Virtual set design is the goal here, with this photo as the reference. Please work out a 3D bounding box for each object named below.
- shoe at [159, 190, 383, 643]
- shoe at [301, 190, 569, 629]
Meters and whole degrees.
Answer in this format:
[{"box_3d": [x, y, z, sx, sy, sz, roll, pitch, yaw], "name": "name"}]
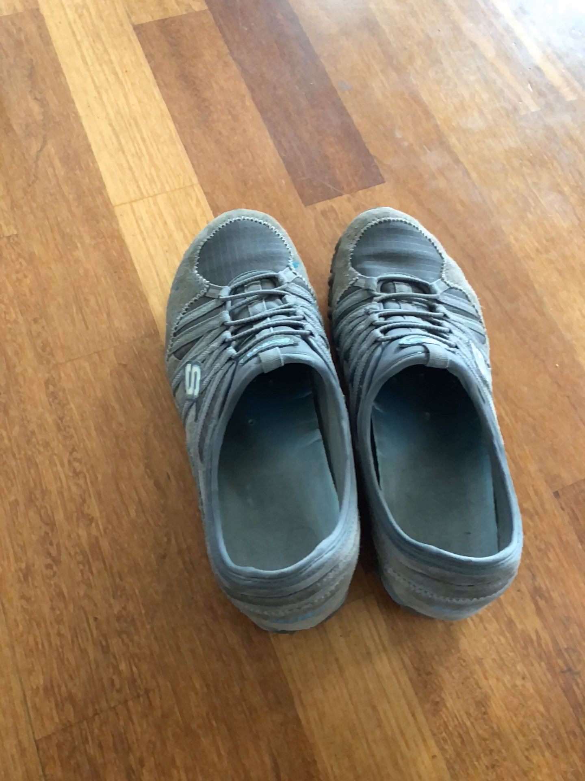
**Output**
[{"box_3d": [-0.023, 0.016, 0.403, 0.096, 0.106, 0.254, -5, 70, -7], "name": "shoe"}, {"box_3d": [0.072, 0.012, 0.408, 0.093, 0.106, 0.250, -5, 70, -7], "name": "shoe"}]
